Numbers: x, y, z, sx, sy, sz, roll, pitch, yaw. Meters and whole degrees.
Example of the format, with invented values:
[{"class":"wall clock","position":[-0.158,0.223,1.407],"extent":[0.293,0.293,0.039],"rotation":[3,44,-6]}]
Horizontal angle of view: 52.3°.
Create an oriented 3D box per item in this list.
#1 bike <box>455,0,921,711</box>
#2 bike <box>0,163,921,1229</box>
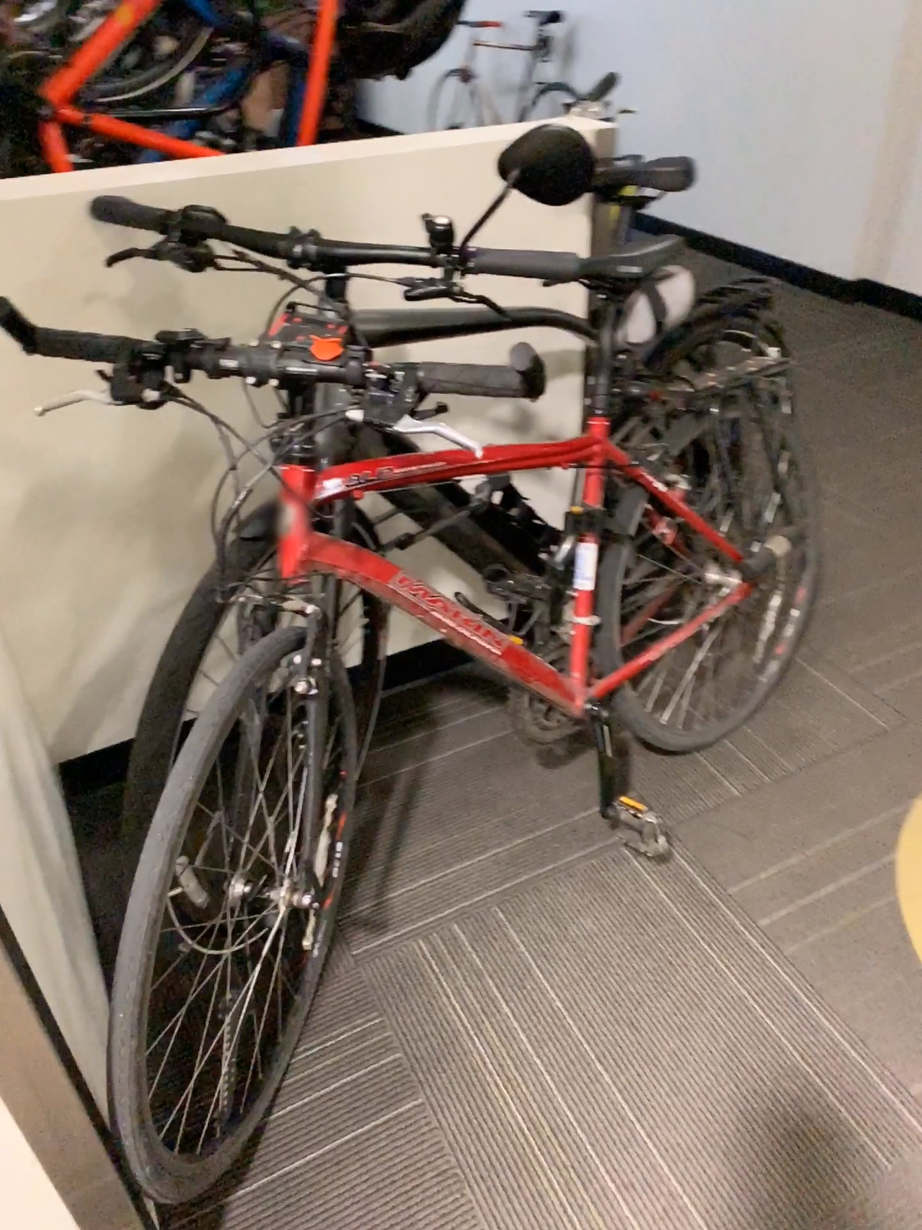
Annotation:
[{"class":"bike","position":[0.475,-0.493,1.940],"extent":[0.694,1.149,0.727],"rotation":[26,38,34]},{"class":"bike","position":[0.126,-0.084,1.397],"extent":[0.604,0.928,1.615],"rotation":[25,39,32]}]
